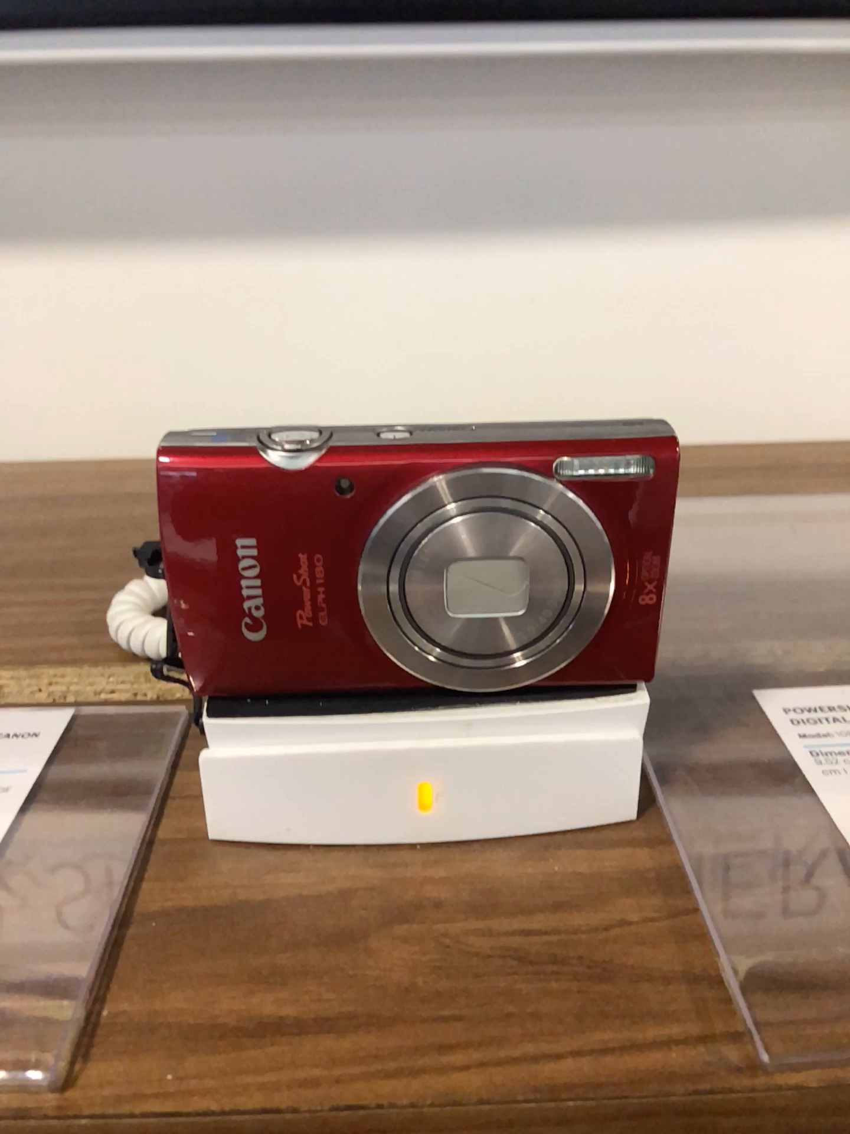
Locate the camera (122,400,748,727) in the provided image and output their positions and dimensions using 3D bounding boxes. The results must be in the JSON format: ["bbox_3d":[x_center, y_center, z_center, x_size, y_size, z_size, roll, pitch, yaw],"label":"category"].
[{"bbox_3d":[0.002,-0.001,0.176,0.100,0.050,0.030,-1,25,-1],"label":"camera"}]
